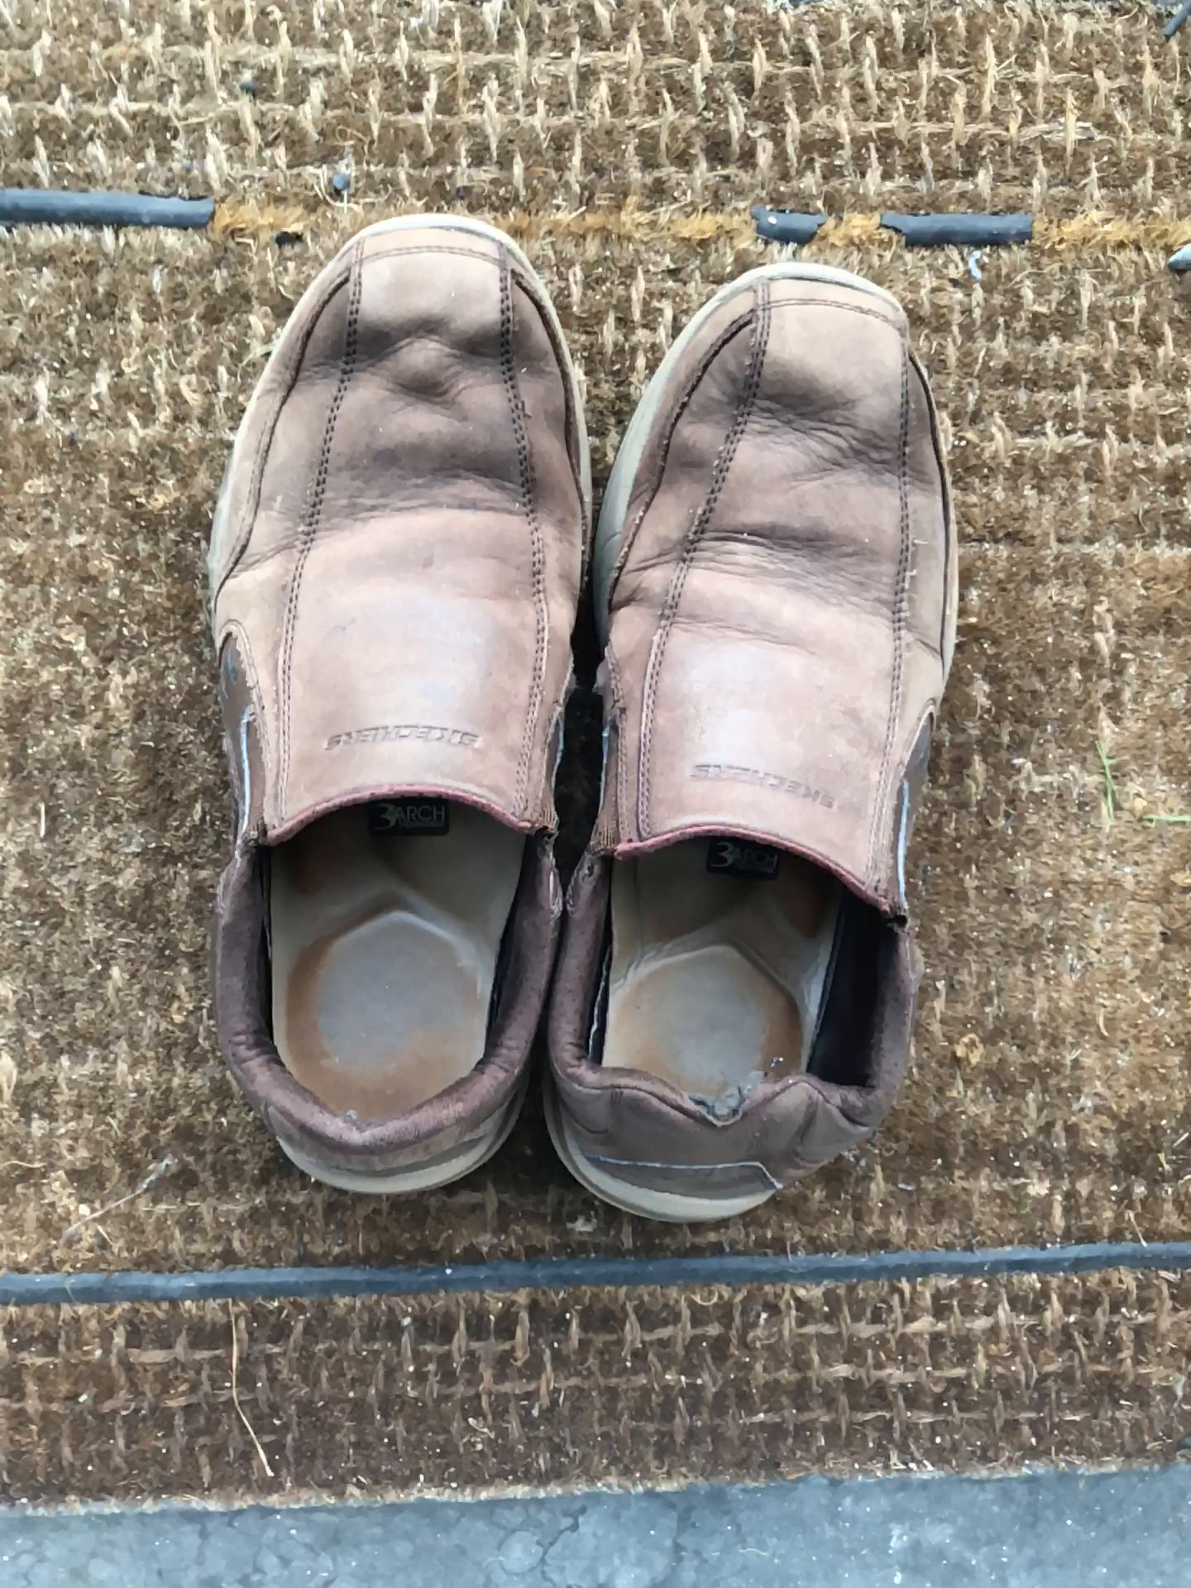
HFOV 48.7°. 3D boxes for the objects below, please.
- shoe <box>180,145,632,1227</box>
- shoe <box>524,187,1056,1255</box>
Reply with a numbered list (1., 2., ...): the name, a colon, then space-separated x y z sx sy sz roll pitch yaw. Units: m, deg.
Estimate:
1. shoe: -0.053 -0.026 0.382 0.100 0.100 0.267 3 94 -4
2. shoe: 0.045 -0.017 0.375 0.100 0.100 0.254 6 94 -5
